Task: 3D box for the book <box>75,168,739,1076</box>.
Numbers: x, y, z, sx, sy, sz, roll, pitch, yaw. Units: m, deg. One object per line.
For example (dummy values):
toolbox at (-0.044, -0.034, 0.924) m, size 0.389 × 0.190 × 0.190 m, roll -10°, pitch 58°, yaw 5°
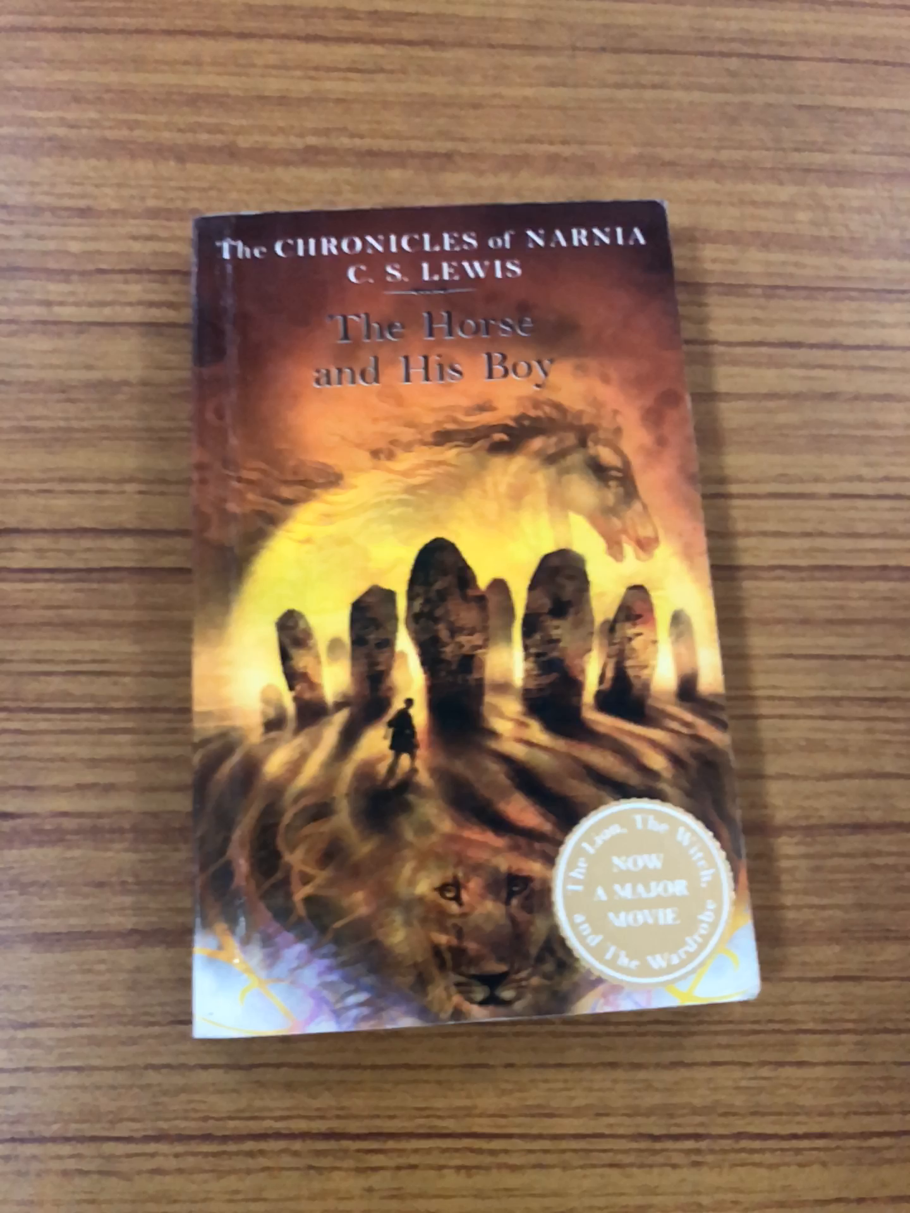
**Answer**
book at (-0.013, -0.005, 0.215) m, size 0.120 × 0.020 × 0.180 m, roll -3°, pitch 78°, yaw -4°
